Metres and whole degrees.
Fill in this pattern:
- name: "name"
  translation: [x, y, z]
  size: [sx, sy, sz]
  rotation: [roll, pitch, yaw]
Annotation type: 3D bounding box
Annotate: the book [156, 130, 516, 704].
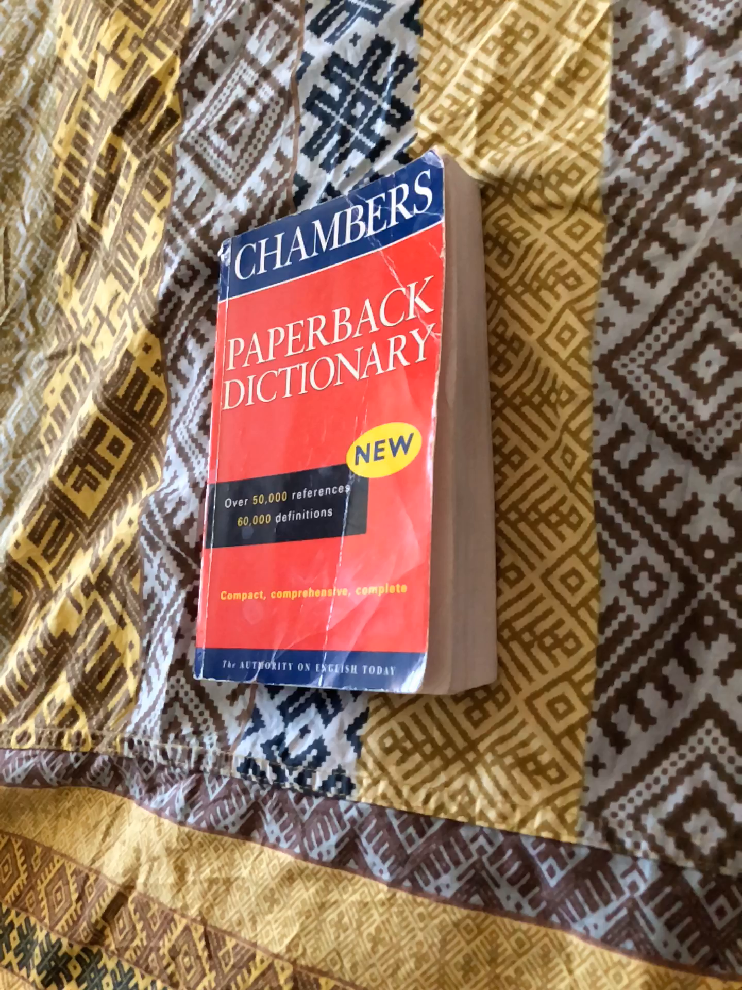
- name: "book"
  translation: [-0.017, -0.017, 0.283]
  size: [0.117, 0.044, 0.166]
  rotation: [-9, 78, 37]
